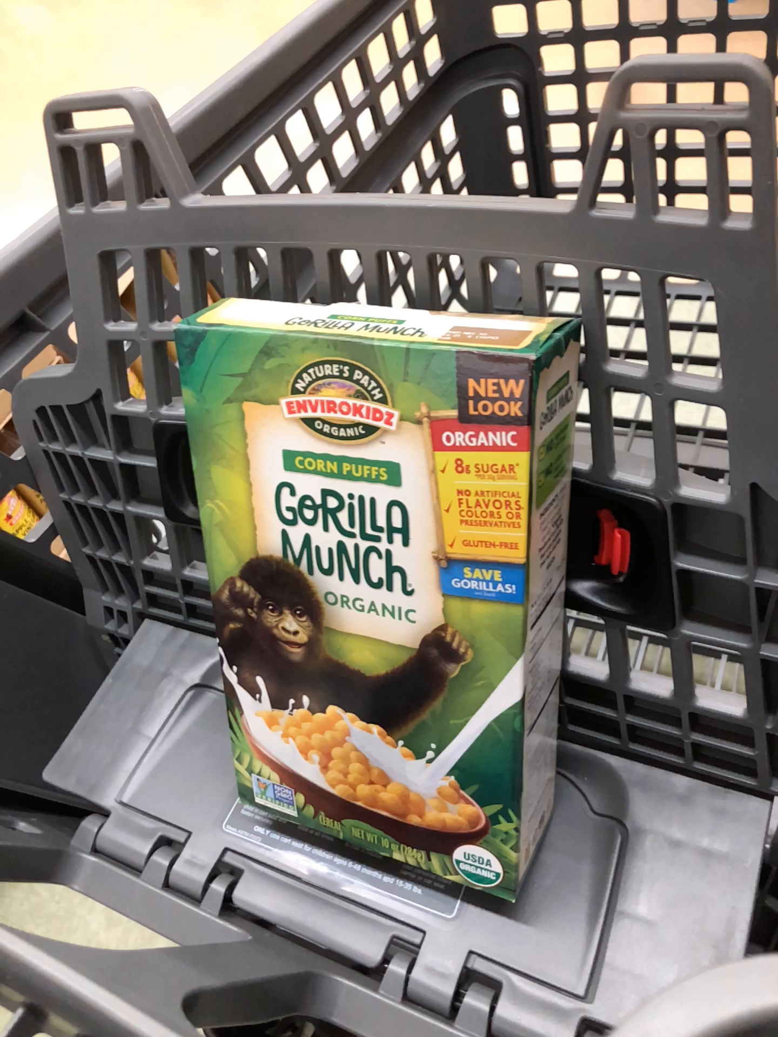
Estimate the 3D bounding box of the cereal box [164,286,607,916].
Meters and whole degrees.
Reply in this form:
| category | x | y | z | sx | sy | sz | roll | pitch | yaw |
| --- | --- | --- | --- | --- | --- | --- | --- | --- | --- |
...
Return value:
| category | x | y | z | sx | sy | sz | roll | pitch | yaw |
| --- | --- | --- | --- | --- | --- | --- | --- | --- | --- |
| cereal box | 0.004 | 0.036 | 0.395 | 0.160 | 0.260 | 0.070 | 10 | 29 | 26 |
